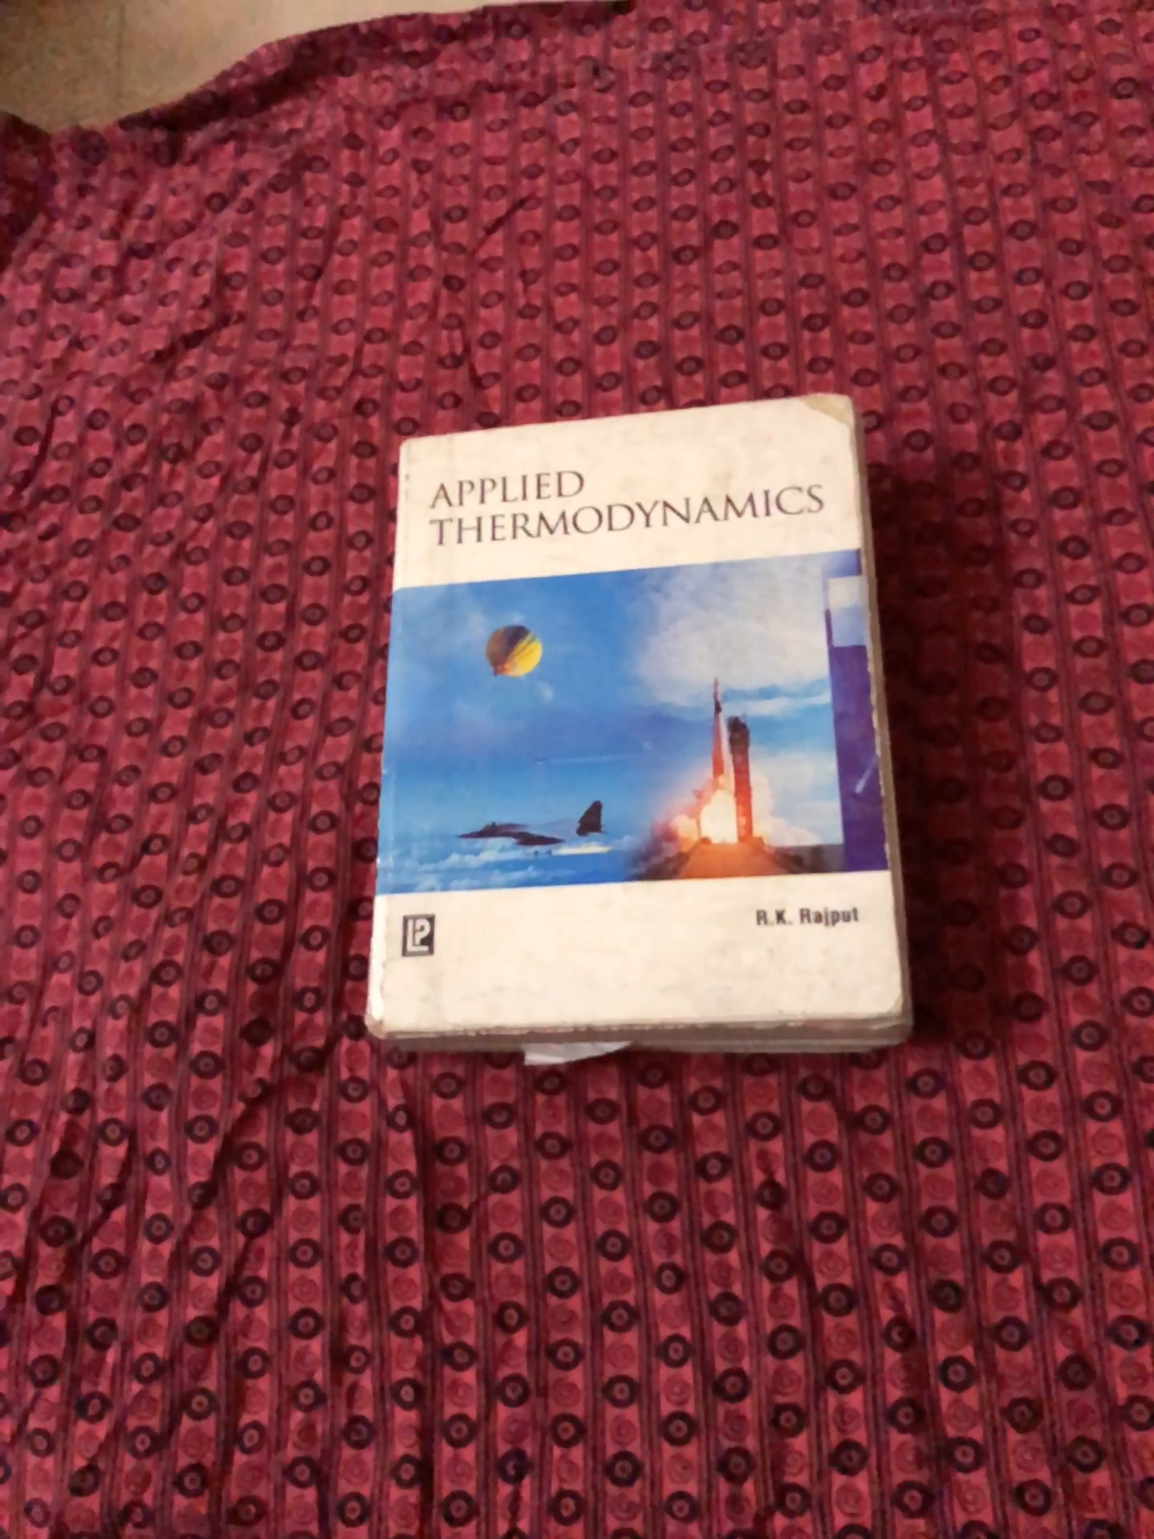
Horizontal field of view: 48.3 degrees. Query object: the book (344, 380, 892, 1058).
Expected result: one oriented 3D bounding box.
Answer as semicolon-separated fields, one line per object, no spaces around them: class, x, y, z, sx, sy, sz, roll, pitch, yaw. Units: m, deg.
book;0.016;-0.019;0.484;0.178;0.060;0.240;-3;70;9
